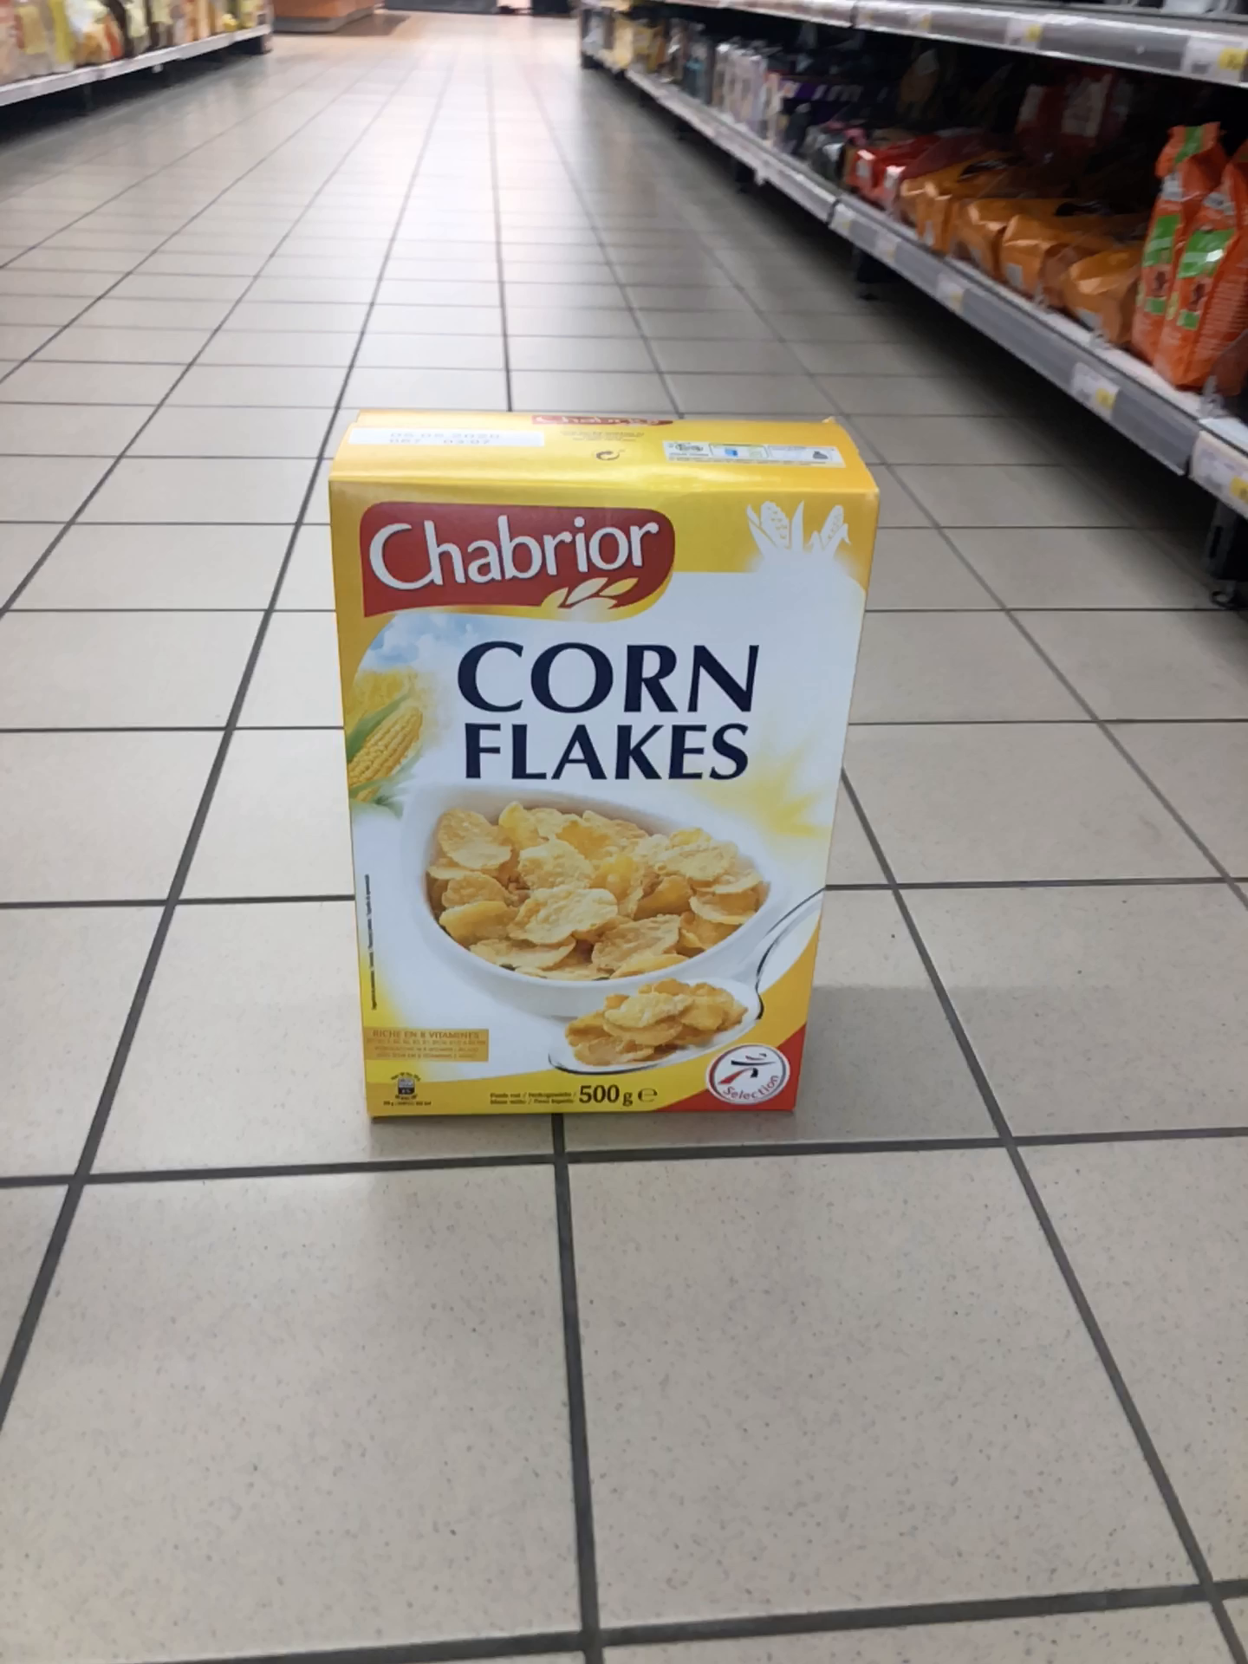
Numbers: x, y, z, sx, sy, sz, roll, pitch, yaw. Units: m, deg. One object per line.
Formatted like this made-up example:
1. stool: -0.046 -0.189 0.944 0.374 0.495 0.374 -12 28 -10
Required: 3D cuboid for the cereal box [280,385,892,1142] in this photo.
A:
1. cereal box: -0.020 -0.020 0.595 0.210 0.308 0.111 0 31 -4
